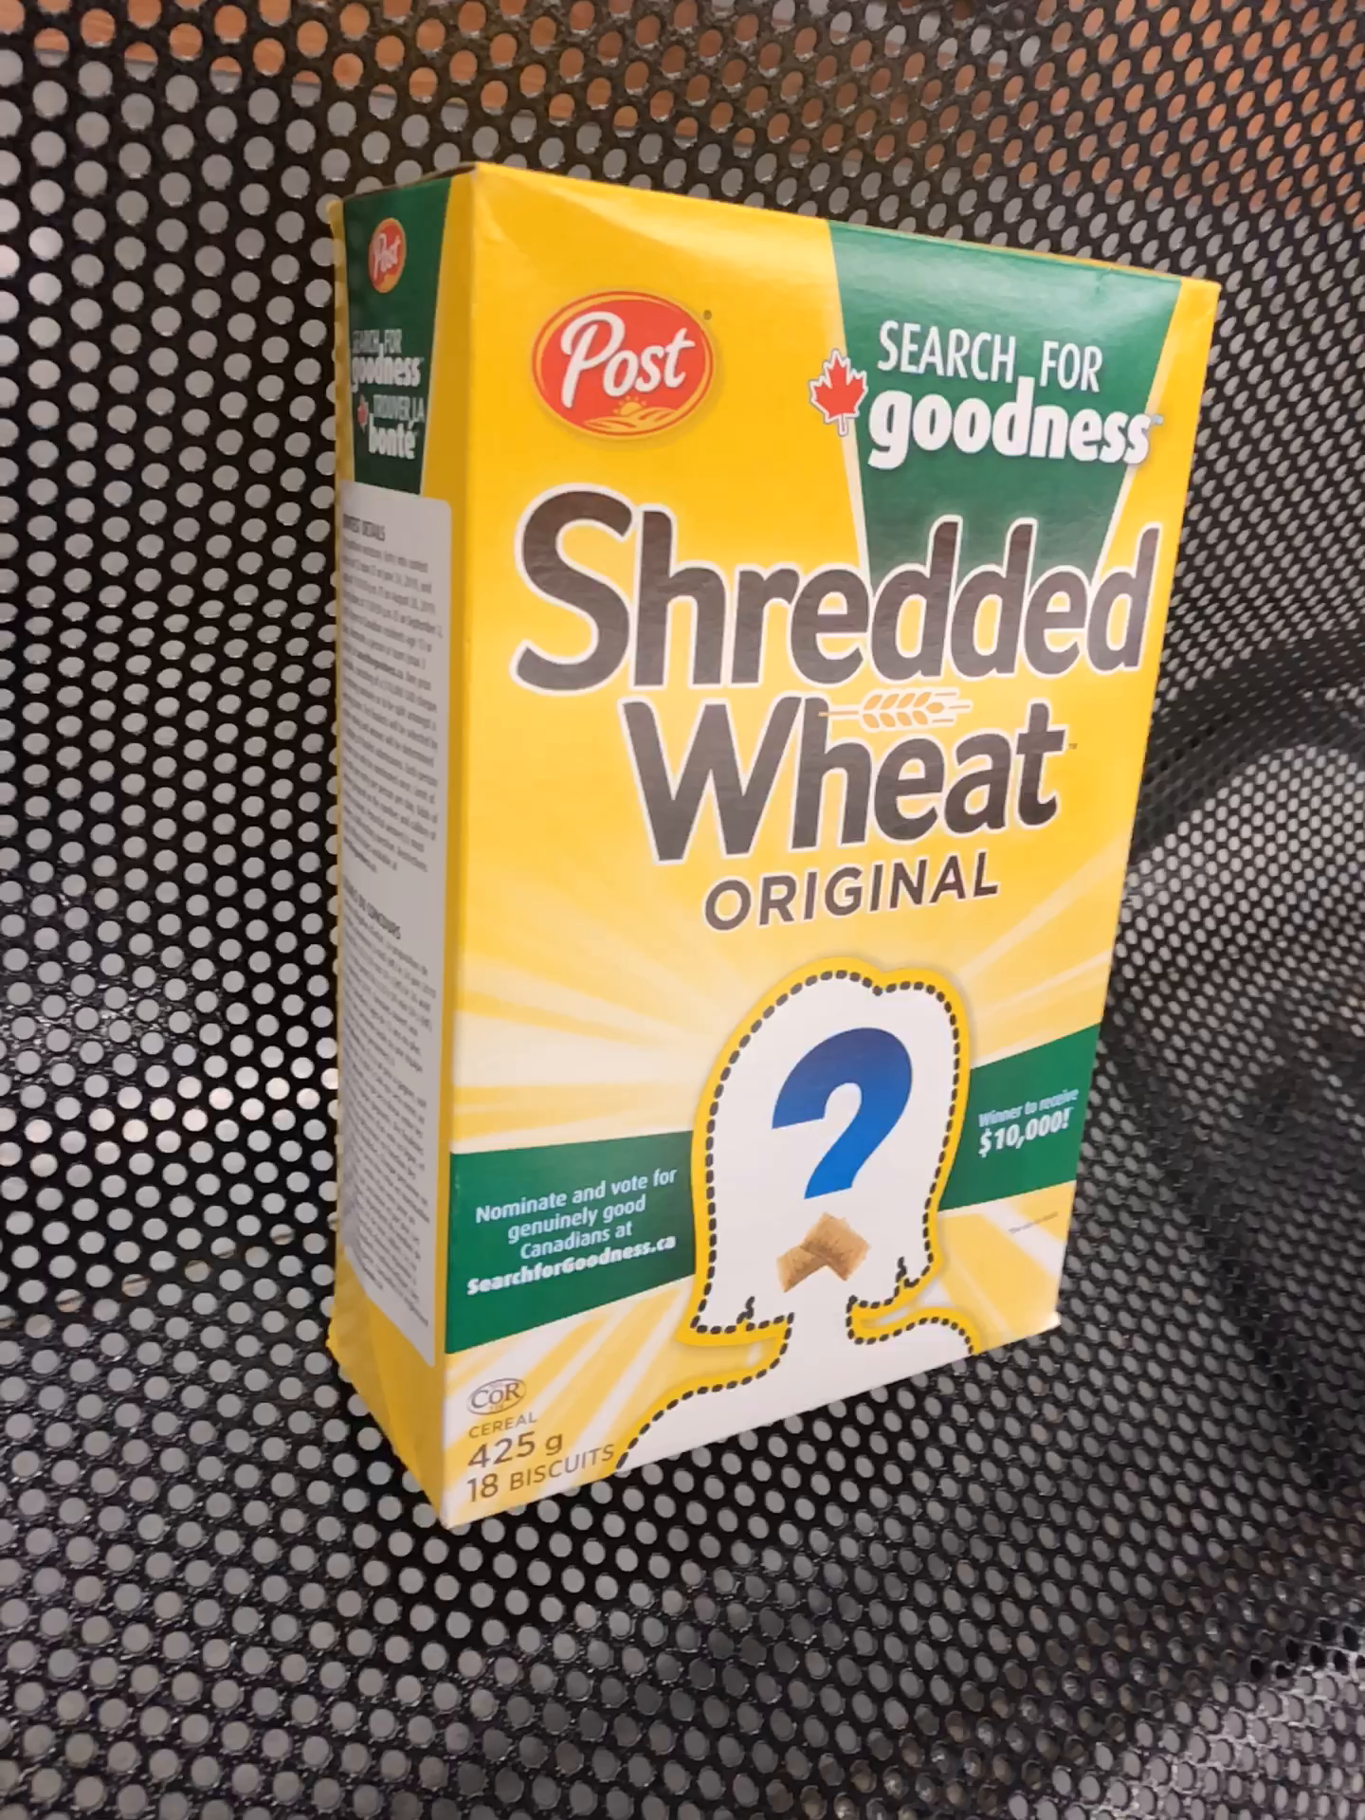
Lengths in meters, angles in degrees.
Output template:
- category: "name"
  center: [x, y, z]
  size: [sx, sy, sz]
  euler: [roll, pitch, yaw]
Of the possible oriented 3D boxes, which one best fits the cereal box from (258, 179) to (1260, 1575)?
- category: "cereal box"
  center: [0.015, -0.012, 0.377]
  size: [0.211, 0.279, 0.090]
  euler: [-8, 21, -31]
